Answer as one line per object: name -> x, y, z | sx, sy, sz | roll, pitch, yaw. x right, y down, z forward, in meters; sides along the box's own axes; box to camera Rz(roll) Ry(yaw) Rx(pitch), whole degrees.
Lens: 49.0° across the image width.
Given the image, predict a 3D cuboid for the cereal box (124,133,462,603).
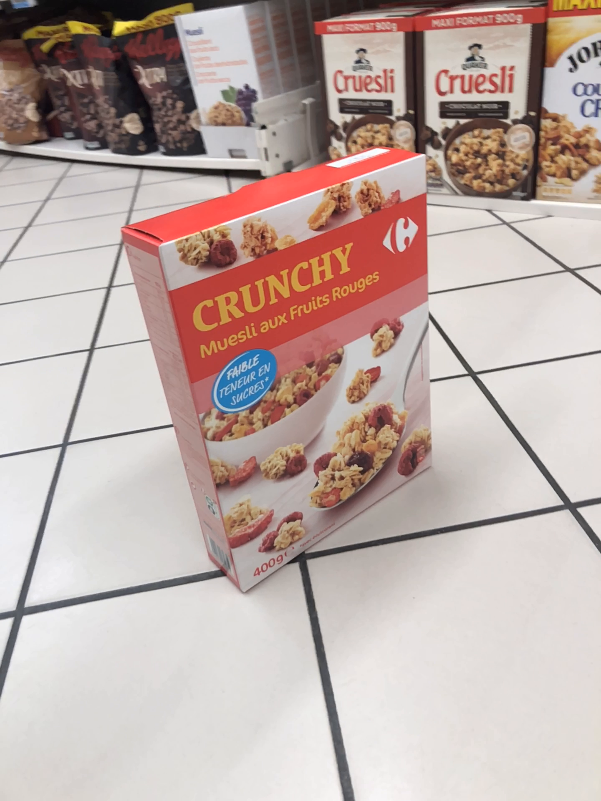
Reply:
cereal box -> 0.018, -0.023, 0.440 | 0.201, 0.249, 0.060 | -28, 37, -30
